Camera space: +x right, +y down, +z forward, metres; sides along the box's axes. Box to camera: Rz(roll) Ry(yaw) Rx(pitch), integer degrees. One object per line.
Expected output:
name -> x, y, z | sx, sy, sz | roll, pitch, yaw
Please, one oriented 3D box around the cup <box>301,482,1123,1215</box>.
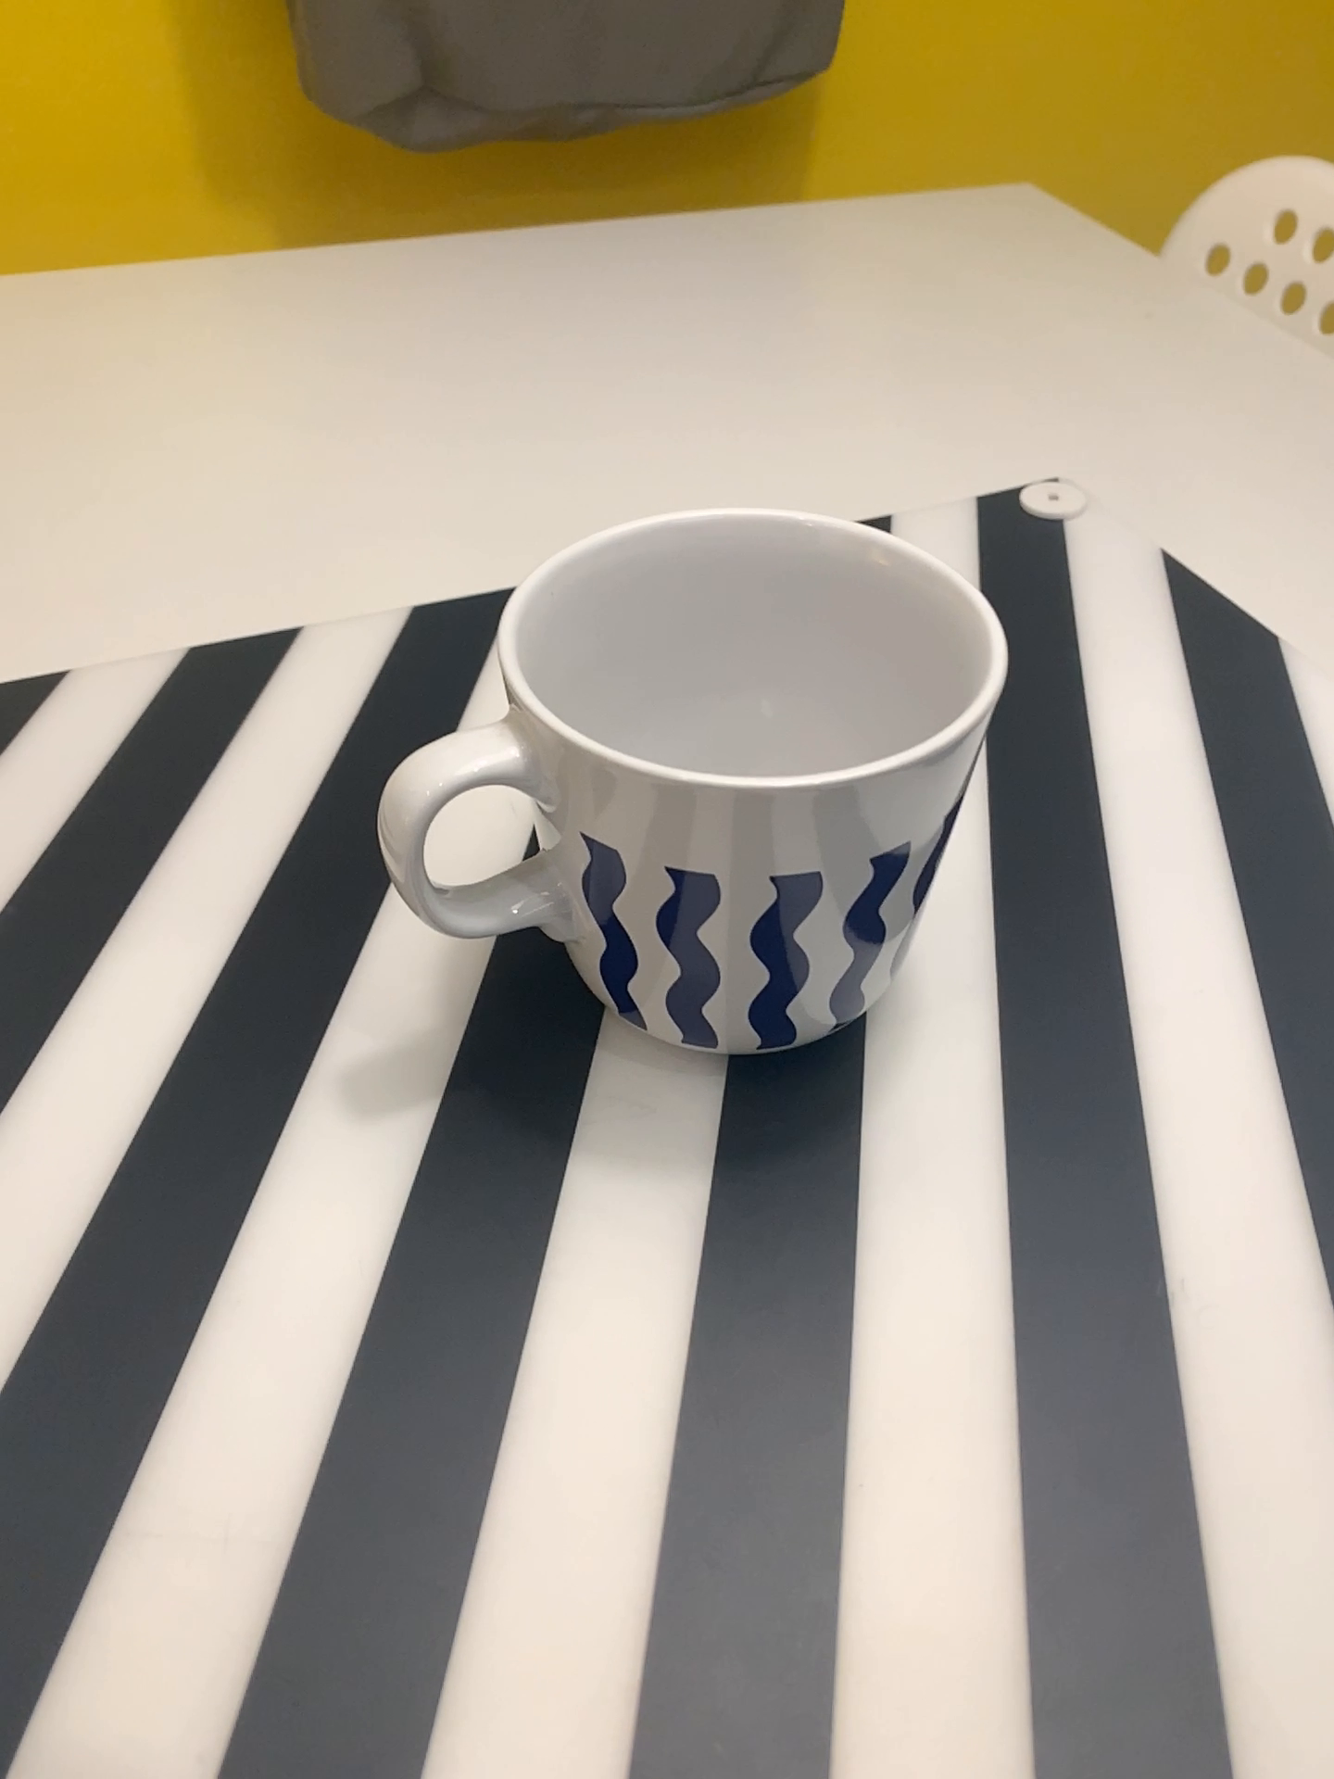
cup -> 0.003, -0.014, 0.257 | 0.110, 0.070, 0.090 | -17, 46, -19
